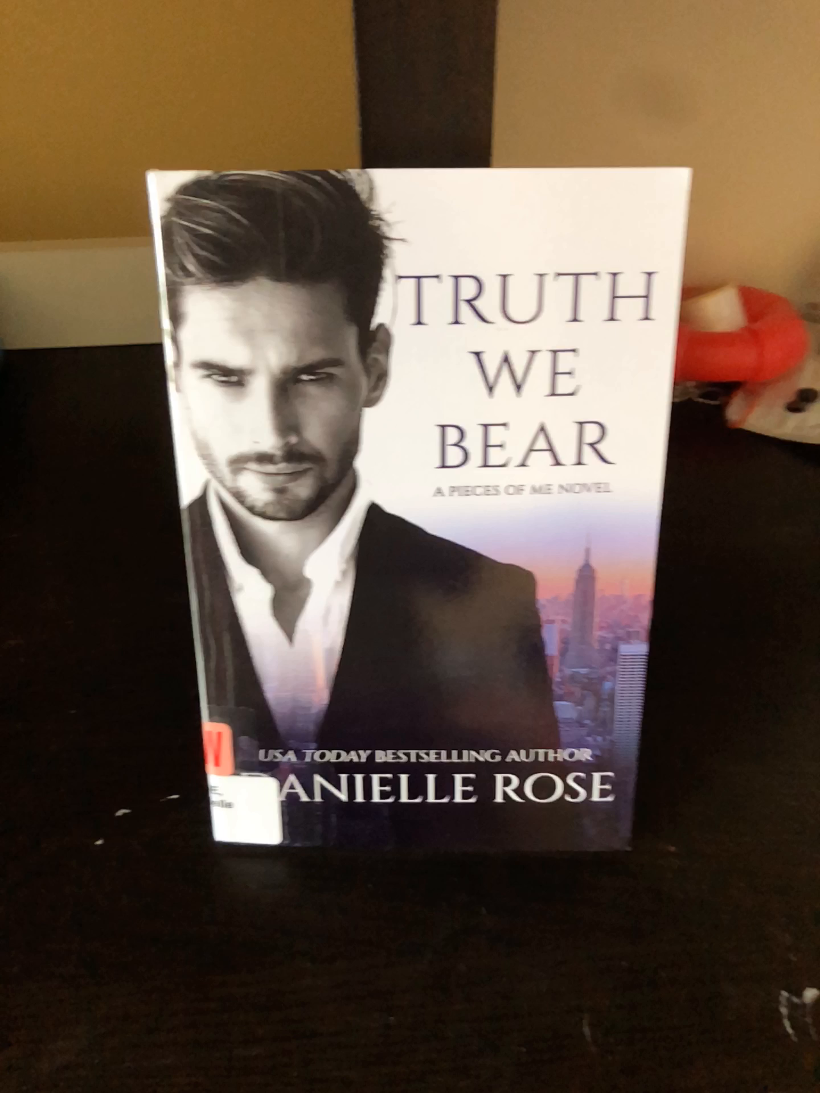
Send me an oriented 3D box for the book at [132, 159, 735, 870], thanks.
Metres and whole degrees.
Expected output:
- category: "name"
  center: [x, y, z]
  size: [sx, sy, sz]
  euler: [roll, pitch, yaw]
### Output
- category: "book"
  center: [0.007, 0.002, 0.277]
  size: [0.150, 0.220, 0.020]
  euler: [-1, 22, -1]
